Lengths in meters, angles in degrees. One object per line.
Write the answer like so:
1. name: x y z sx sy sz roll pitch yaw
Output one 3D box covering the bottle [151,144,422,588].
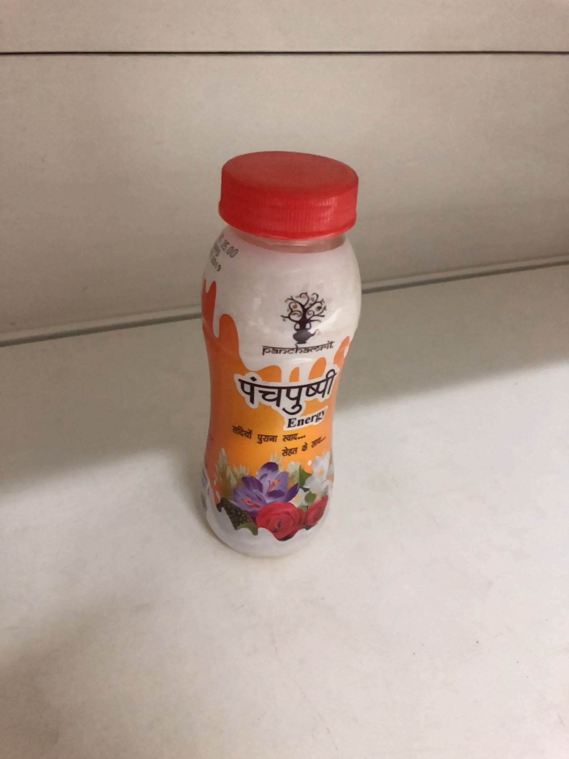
1. bottle: -0.004 -0.005 0.216 0.060 0.129 0.060 1 31 -1
